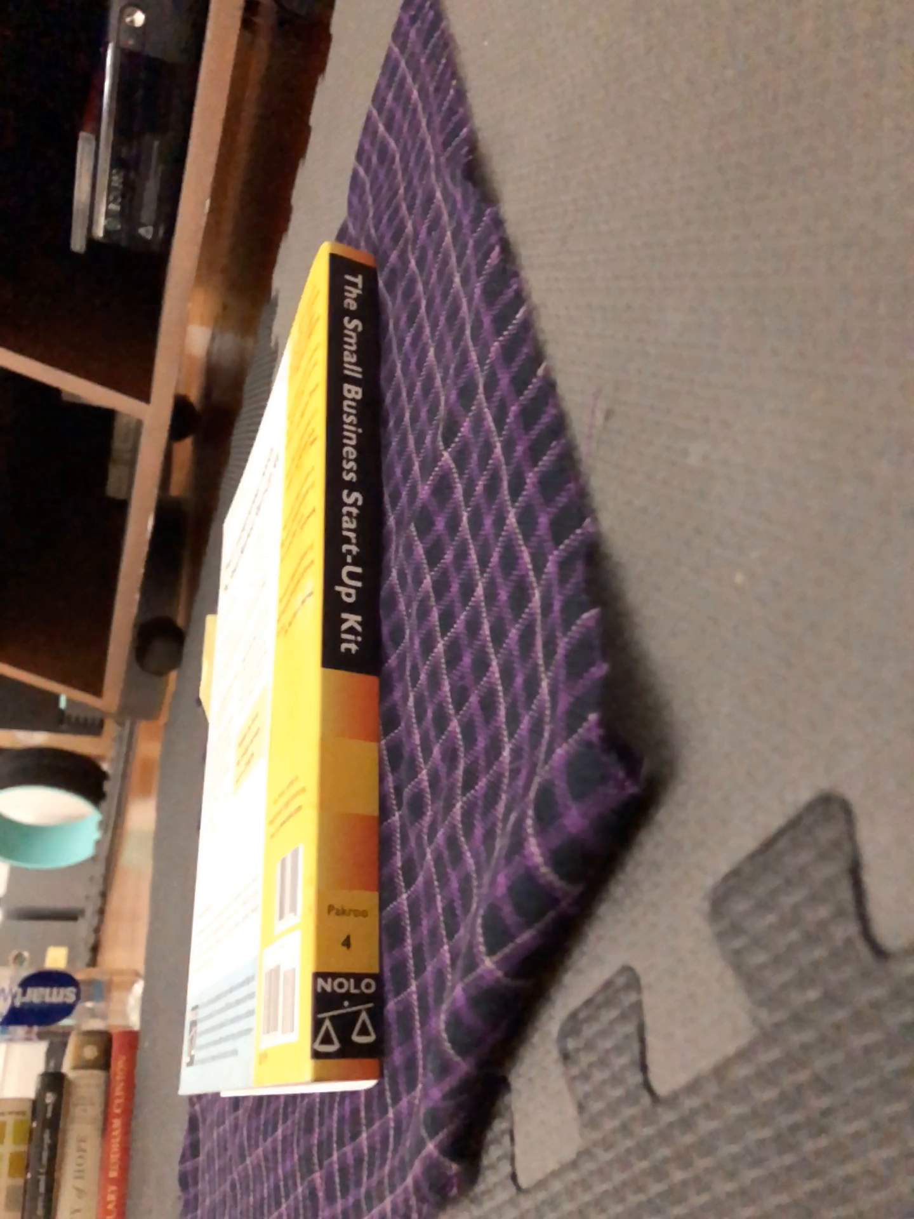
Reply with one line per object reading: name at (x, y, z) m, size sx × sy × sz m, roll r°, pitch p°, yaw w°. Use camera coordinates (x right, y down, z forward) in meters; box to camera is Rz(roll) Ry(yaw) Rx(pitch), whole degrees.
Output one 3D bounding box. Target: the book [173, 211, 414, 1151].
book at (-0.070, 0.040, 0.414) m, size 0.231 × 0.030 × 0.310 m, roll 132°, pitch 142°, yaw -57°
